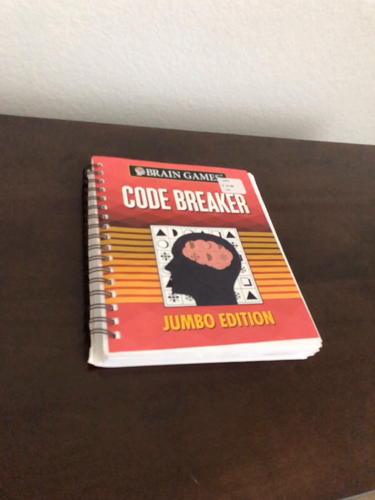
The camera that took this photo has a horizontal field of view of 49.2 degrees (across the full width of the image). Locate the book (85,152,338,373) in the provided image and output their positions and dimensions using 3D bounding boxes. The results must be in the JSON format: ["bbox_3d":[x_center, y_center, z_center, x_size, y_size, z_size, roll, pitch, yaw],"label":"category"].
[{"bbox_3d":[0.009,-0.002,0.396,0.203,0.030,0.224,1,51,-18],"label":"book"}]
